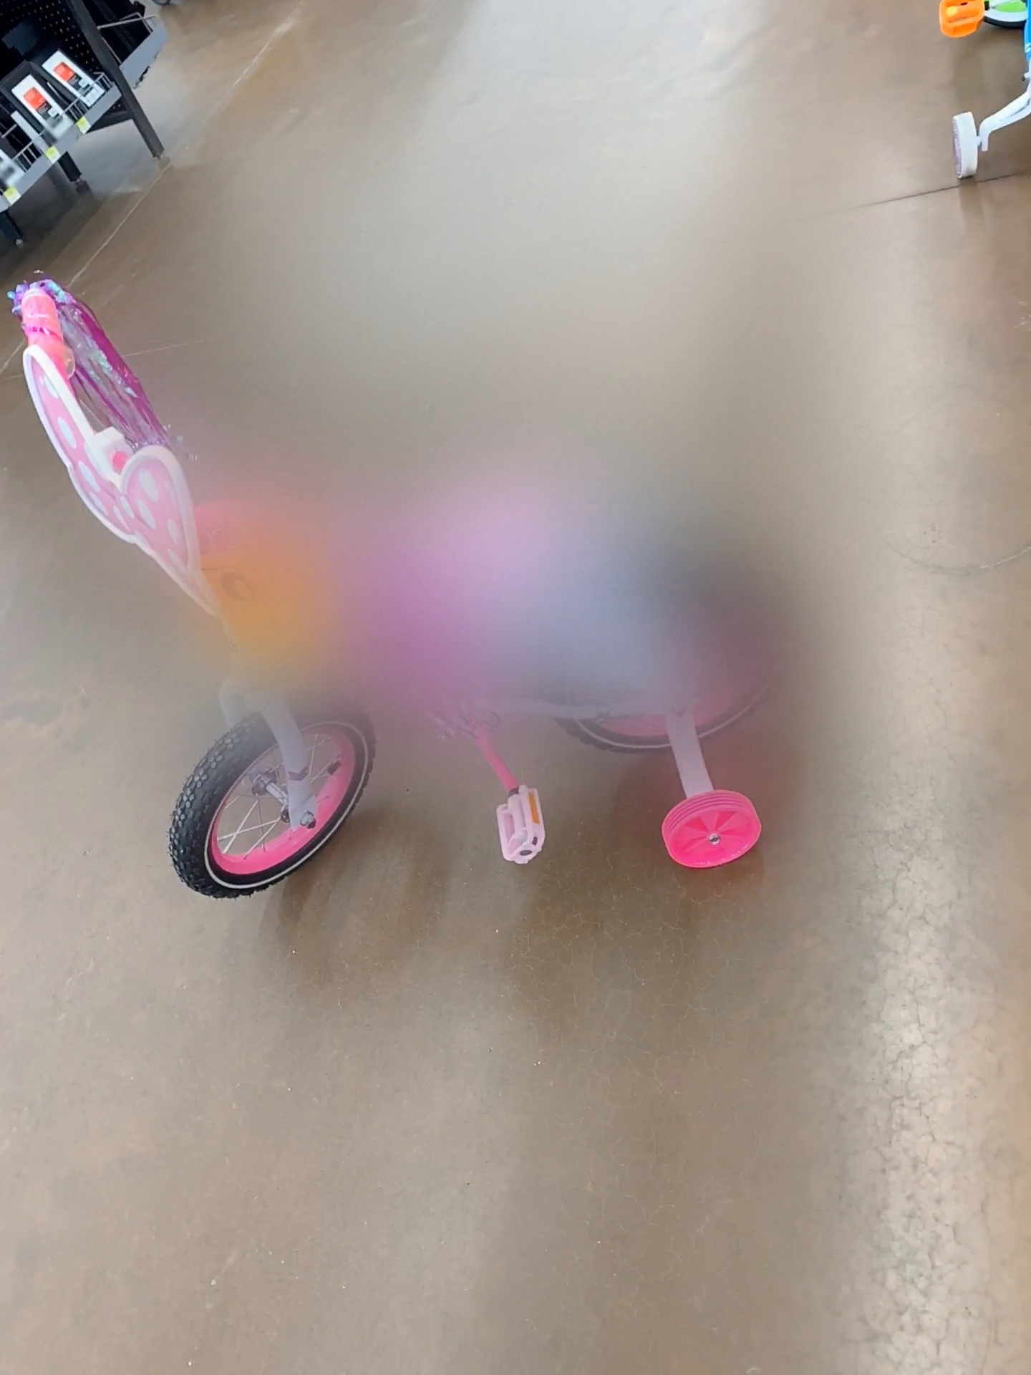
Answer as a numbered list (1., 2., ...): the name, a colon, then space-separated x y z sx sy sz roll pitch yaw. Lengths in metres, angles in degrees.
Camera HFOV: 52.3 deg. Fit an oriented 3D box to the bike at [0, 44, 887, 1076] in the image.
1. bike: -0.110 -0.057 1.116 0.776 0.707 0.429 -24 45 7
